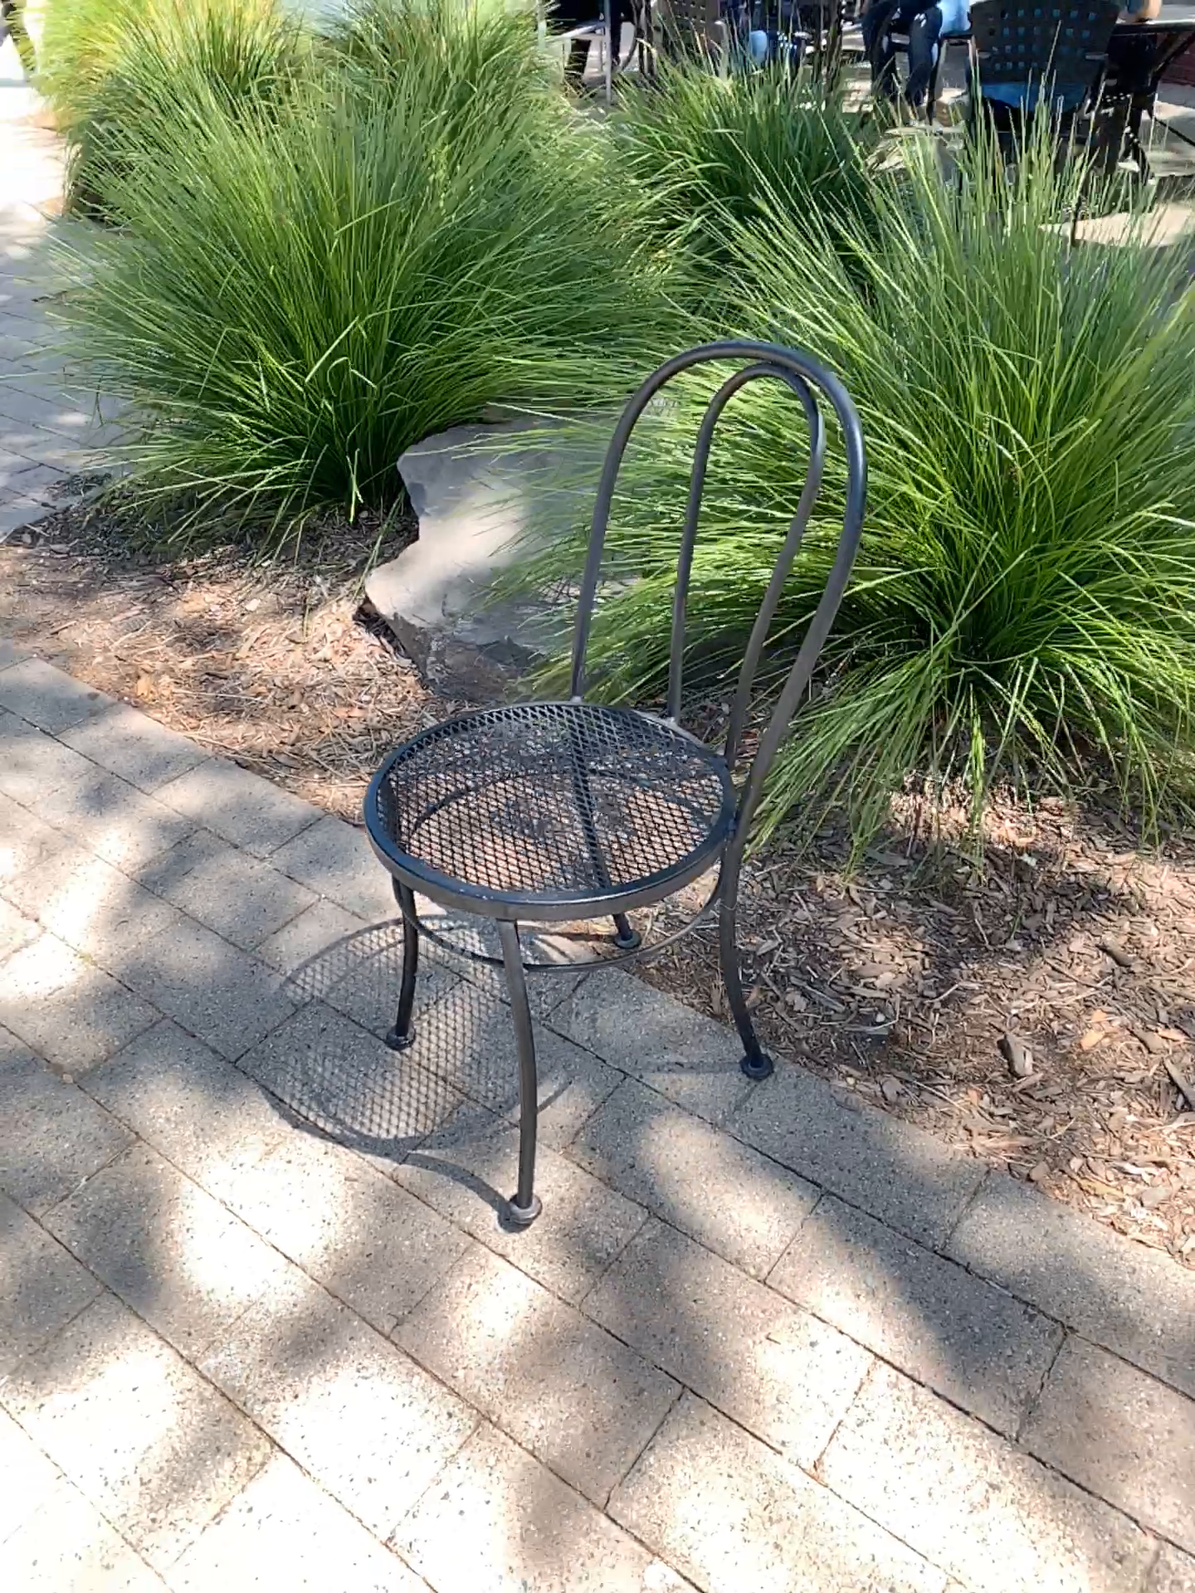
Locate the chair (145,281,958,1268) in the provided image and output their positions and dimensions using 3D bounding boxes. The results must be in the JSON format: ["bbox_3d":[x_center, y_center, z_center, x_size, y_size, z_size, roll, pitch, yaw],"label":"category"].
[{"bbox_3d":[-0.042,-0.038,1.318,0.537,0.788,0.473,-25,43,-27],"label":"chair"}]
